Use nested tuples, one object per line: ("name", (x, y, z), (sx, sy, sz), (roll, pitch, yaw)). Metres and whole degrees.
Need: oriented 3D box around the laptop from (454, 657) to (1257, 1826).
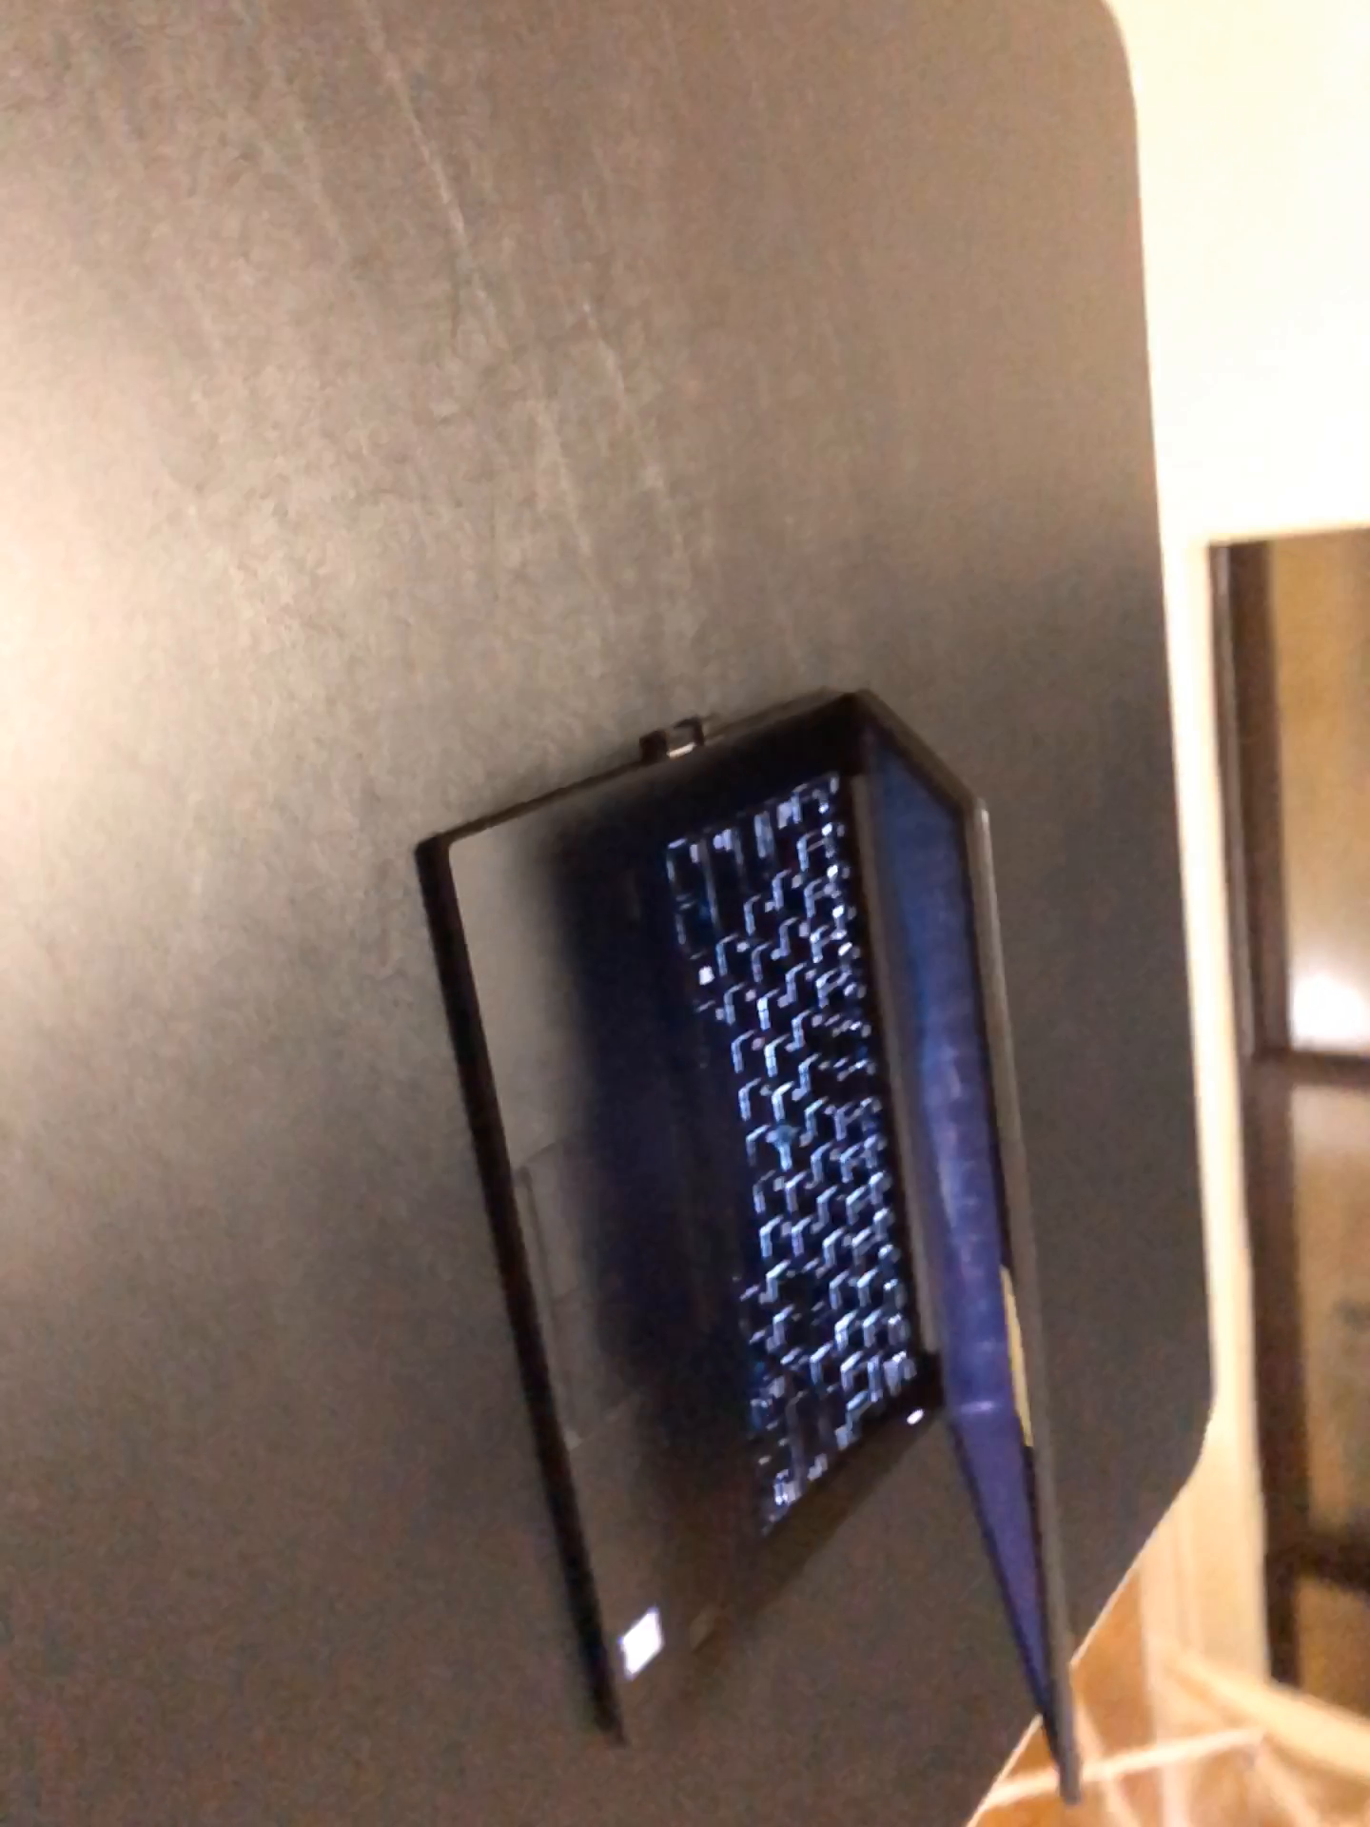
("laptop", (0.079, 0.099, 0.519), (0.221, 0.142, 0.318), (-27, 113, -47))
